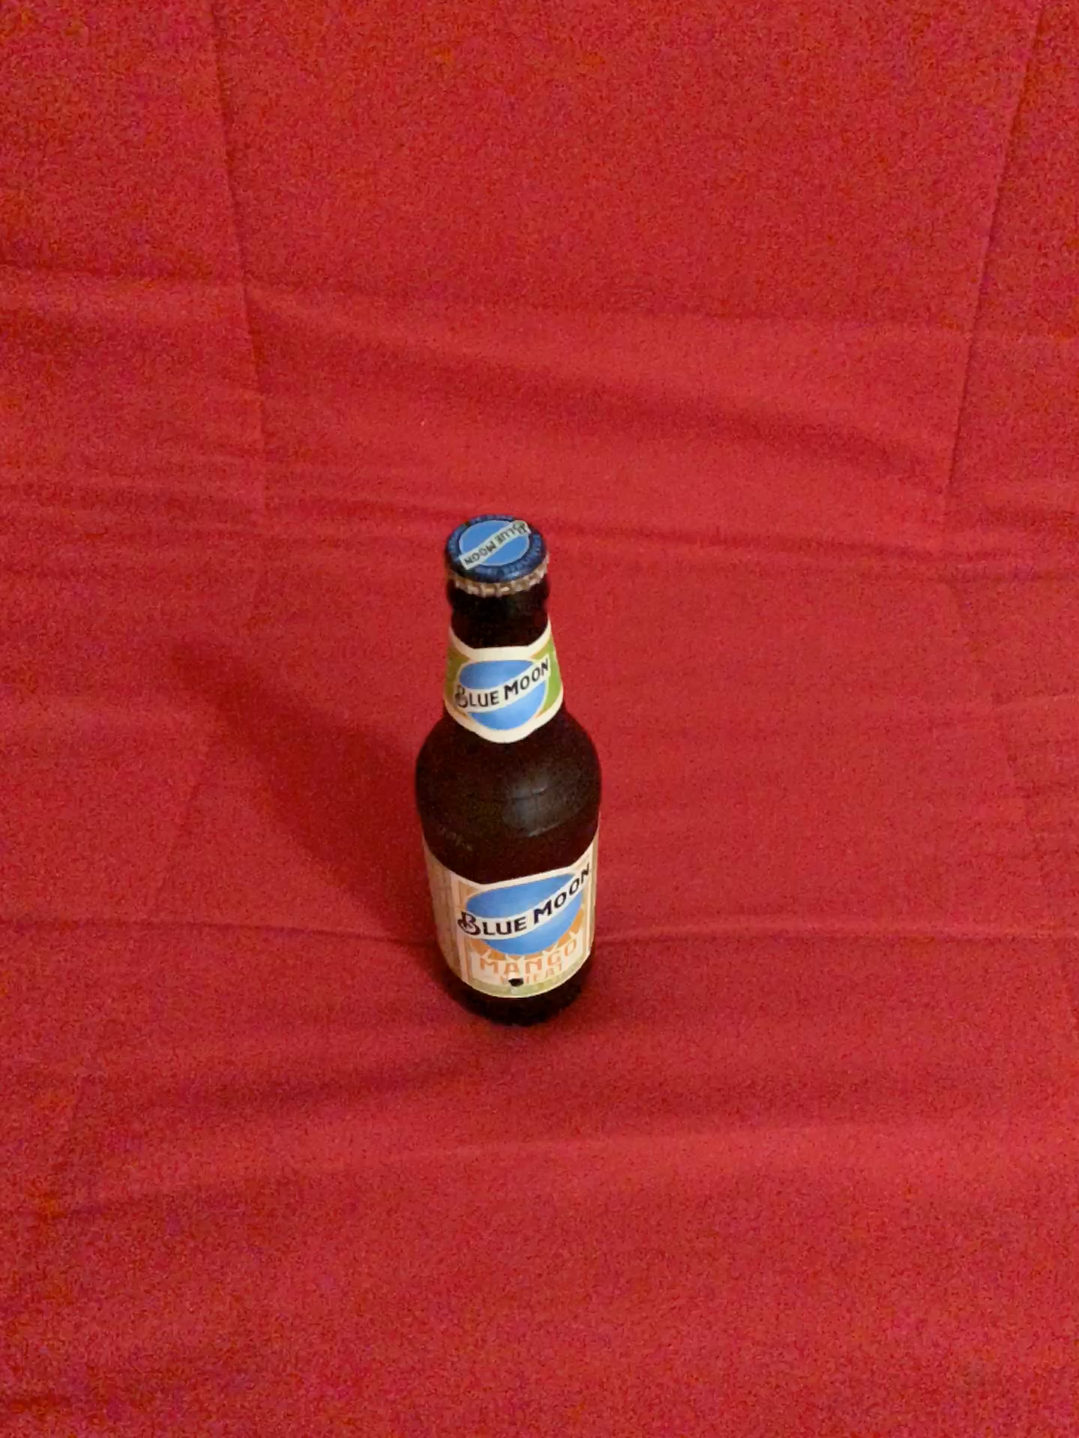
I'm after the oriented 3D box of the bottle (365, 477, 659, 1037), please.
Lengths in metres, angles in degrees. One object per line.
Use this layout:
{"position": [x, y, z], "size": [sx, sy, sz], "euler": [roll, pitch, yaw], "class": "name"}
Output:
{"position": [-0.008, 0.028, 0.368], "size": [0.070, 0.216, 0.069], "euler": [0, 51, 0], "class": "bottle"}
